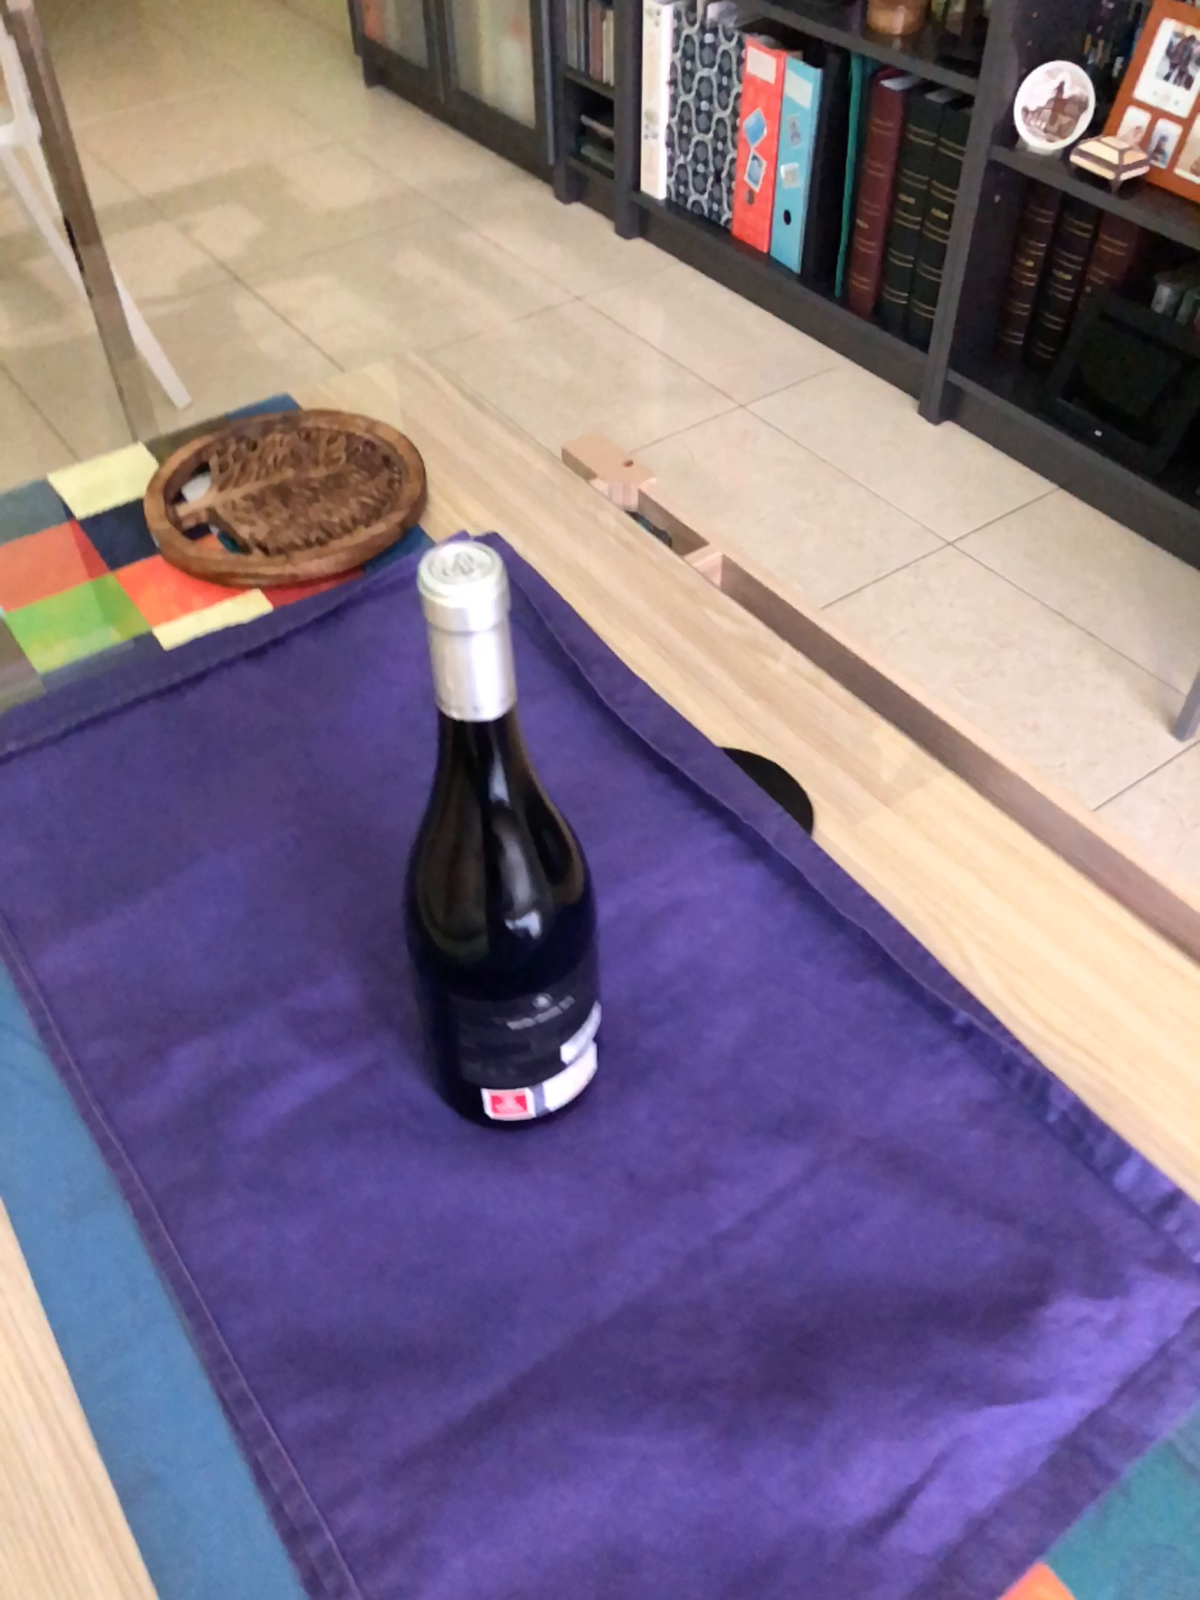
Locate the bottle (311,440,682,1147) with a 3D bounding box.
[{"bbox_3d":[-0.033,0.013,0.511,0.100,0.269,0.100,-1,47,1],"label":"bottle"}]
